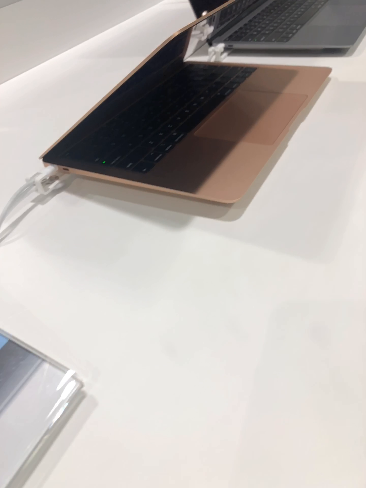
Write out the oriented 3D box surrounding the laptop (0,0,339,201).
[{"bbox_3d":[0.017,-0.188,0.410,0.199,0.106,0.297,14,46,25],"label":"laptop"}]
